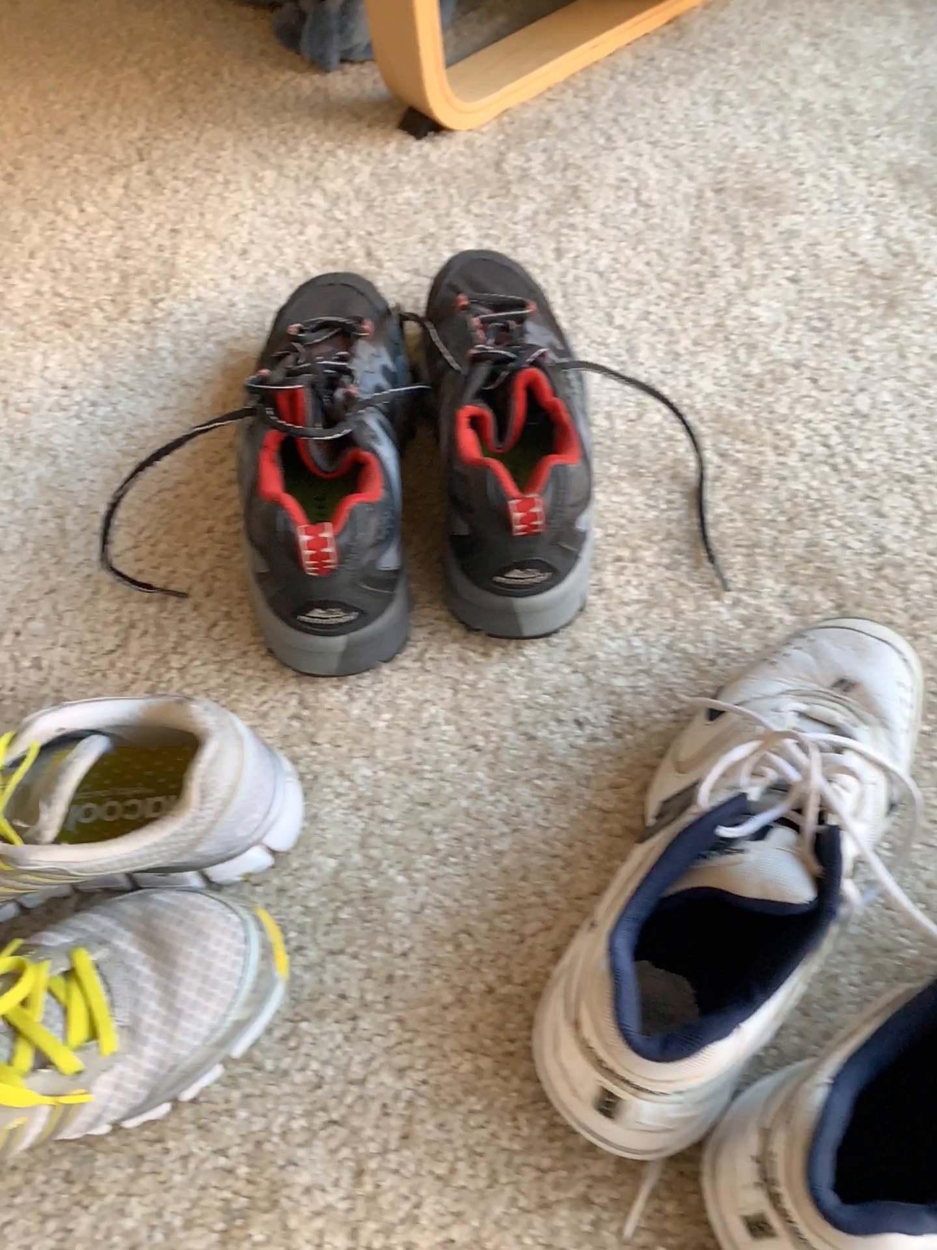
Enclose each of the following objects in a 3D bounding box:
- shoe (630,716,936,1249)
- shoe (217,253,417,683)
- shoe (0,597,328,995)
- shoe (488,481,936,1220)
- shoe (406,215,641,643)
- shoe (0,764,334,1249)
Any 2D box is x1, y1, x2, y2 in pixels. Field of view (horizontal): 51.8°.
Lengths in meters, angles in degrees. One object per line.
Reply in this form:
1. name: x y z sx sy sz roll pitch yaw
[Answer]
1. shoe: 0.247 0.173 0.407 0.330 0.090 0.120 -23 60 -16
2. shoe: -0.094 -0.107 0.603 0.100 0.090 0.271 -4 57 -5
3. shoe: -0.218 0.082 0.479 0.270 0.090 0.110 -12 57 -10
4. shoe: 0.154 0.098 0.488 0.120 0.130 0.331 30 60 17
5. shoe: 0.022 -0.130 0.596 0.100 0.090 0.271 -4 56 -5
6. shoe: -0.216 0.182 0.436 0.280 0.090 0.110 -21 59 -15
